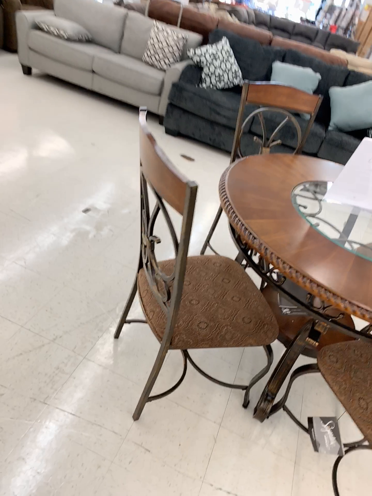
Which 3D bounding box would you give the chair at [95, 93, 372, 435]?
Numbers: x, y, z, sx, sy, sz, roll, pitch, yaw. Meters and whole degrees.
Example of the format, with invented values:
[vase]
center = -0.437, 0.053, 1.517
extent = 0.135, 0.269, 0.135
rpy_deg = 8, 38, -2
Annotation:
[chair]
center = 0.060, 0.096, 1.306
extent = 0.581, 0.975, 0.522
rpy_deg = 1, 38, -22
